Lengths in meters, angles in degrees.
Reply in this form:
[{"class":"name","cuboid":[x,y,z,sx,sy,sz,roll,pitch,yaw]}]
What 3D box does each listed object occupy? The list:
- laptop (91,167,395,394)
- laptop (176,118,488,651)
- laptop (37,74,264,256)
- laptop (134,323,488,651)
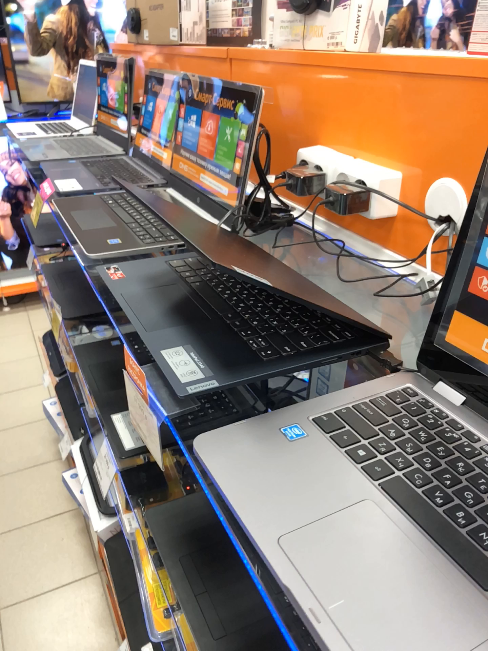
[{"class":"laptop","cuboid":[-0.025,-0.076,0.561,0.203,0.108,0.303,-11,29,-21]},{"class":"laptop","cuboid":[0.155,0.035,0.263,0.257,0.202,0.331,-14,31,-26]},{"class":"laptop","cuboid":[-0.154,-0.271,0.844,0.250,0.200,0.303,-12,30,-22]},{"class":"laptop","cuboid":[0.073,0.198,0.552,0.258,0.226,0.355,-14,29,-21]}]
